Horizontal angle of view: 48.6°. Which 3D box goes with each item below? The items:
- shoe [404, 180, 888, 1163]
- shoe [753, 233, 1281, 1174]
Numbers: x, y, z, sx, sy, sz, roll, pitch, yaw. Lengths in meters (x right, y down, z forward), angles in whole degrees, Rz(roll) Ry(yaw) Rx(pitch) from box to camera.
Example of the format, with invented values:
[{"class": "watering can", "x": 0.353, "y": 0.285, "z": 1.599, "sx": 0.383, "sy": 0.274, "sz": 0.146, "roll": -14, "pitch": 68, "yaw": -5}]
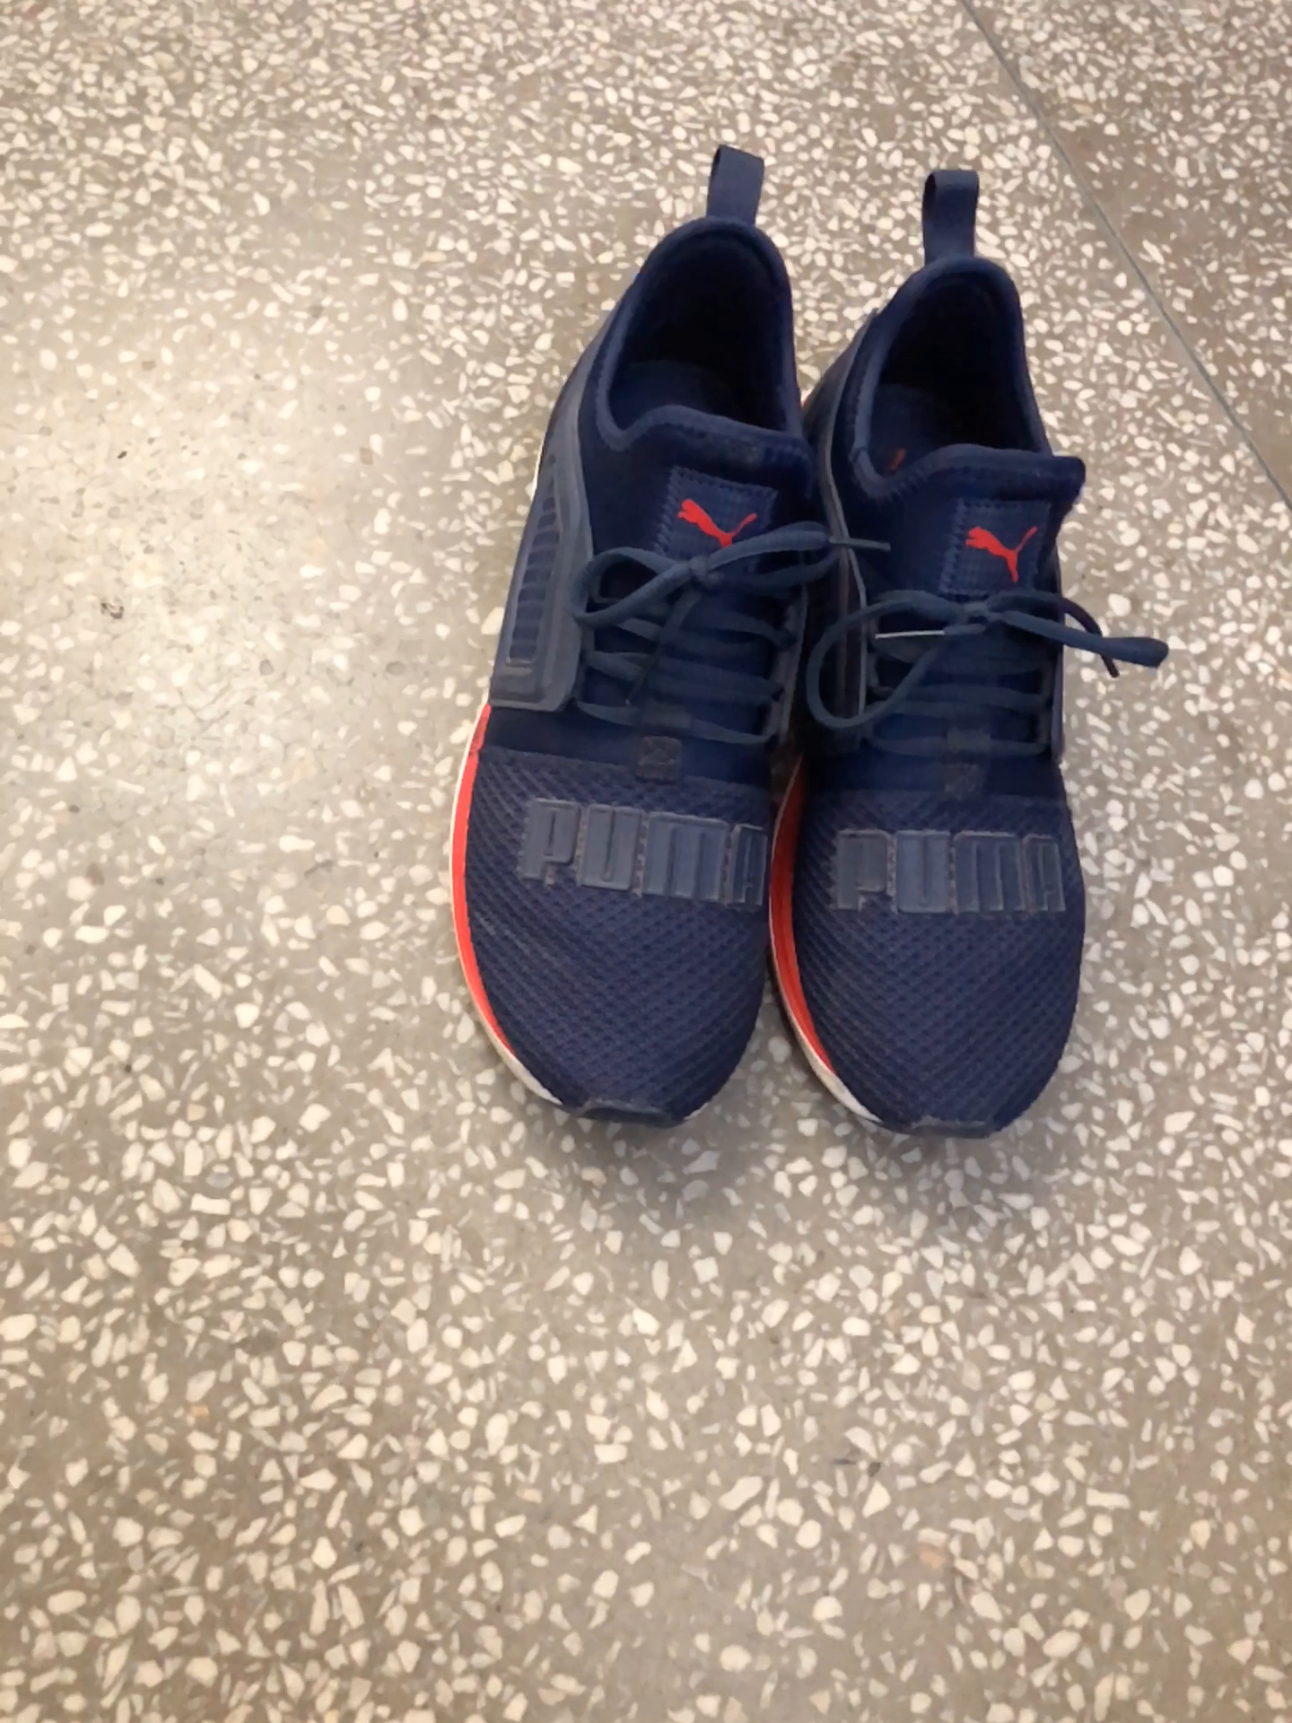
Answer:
[{"class": "shoe", "x": 0.000, "y": -0.054, "z": 0.431, "sx": 0.107, "sy": 0.113, "sz": 0.258, "roll": 8, "pitch": 68, "yaw": -7}, {"class": "shoe", "x": 0.099, "y": -0.045, "z": 0.444, "sx": 0.107, "sy": 0.113, "sz": 0.258, "roll": 5, "pitch": 69, "yaw": -8}]
